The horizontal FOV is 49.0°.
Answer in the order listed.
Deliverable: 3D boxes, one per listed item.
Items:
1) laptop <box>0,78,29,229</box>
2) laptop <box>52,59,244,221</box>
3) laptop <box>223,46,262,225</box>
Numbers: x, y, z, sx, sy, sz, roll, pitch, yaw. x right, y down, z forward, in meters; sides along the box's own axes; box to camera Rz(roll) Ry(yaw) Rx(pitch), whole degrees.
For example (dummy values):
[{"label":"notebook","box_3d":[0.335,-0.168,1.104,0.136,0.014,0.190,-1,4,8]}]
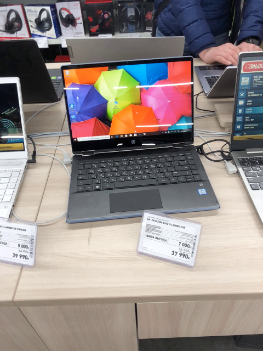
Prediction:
[{"label":"laptop","box_3d":[-0.428,-0.067,0.661,0.292,0.171,0.324,-2,43,-4]},{"label":"laptop","box_3d":[0.011,-0.100,0.671,0.326,0.194,0.328,-5,42,-3]},{"label":"laptop","box_3d":[0.446,-0.101,0.623,0.351,0.218,0.331,-3,42,-1]}]
